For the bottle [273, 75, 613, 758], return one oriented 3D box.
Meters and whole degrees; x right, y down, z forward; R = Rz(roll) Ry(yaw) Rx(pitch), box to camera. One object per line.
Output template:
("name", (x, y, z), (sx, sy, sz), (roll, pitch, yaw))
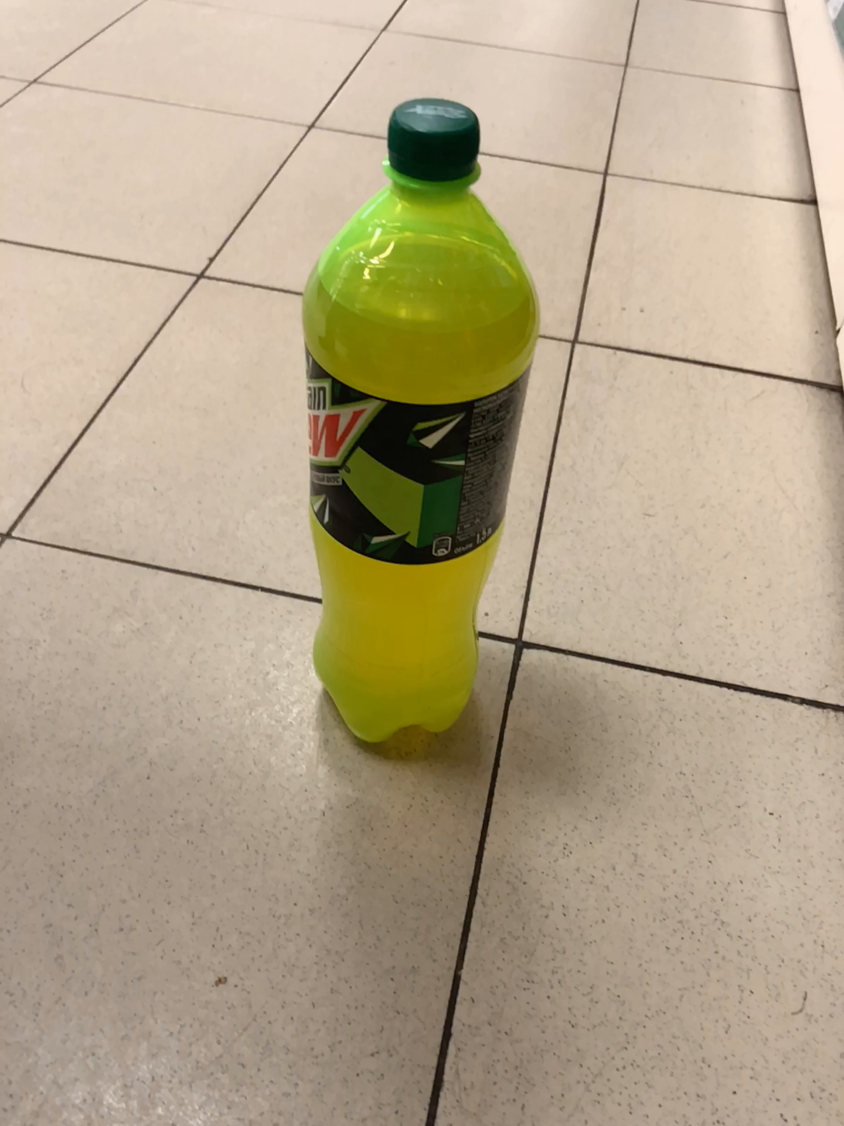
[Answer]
("bottle", (0.000, -0.037, 0.412), (0.100, 0.294, 0.095), (3, 47, -3))
